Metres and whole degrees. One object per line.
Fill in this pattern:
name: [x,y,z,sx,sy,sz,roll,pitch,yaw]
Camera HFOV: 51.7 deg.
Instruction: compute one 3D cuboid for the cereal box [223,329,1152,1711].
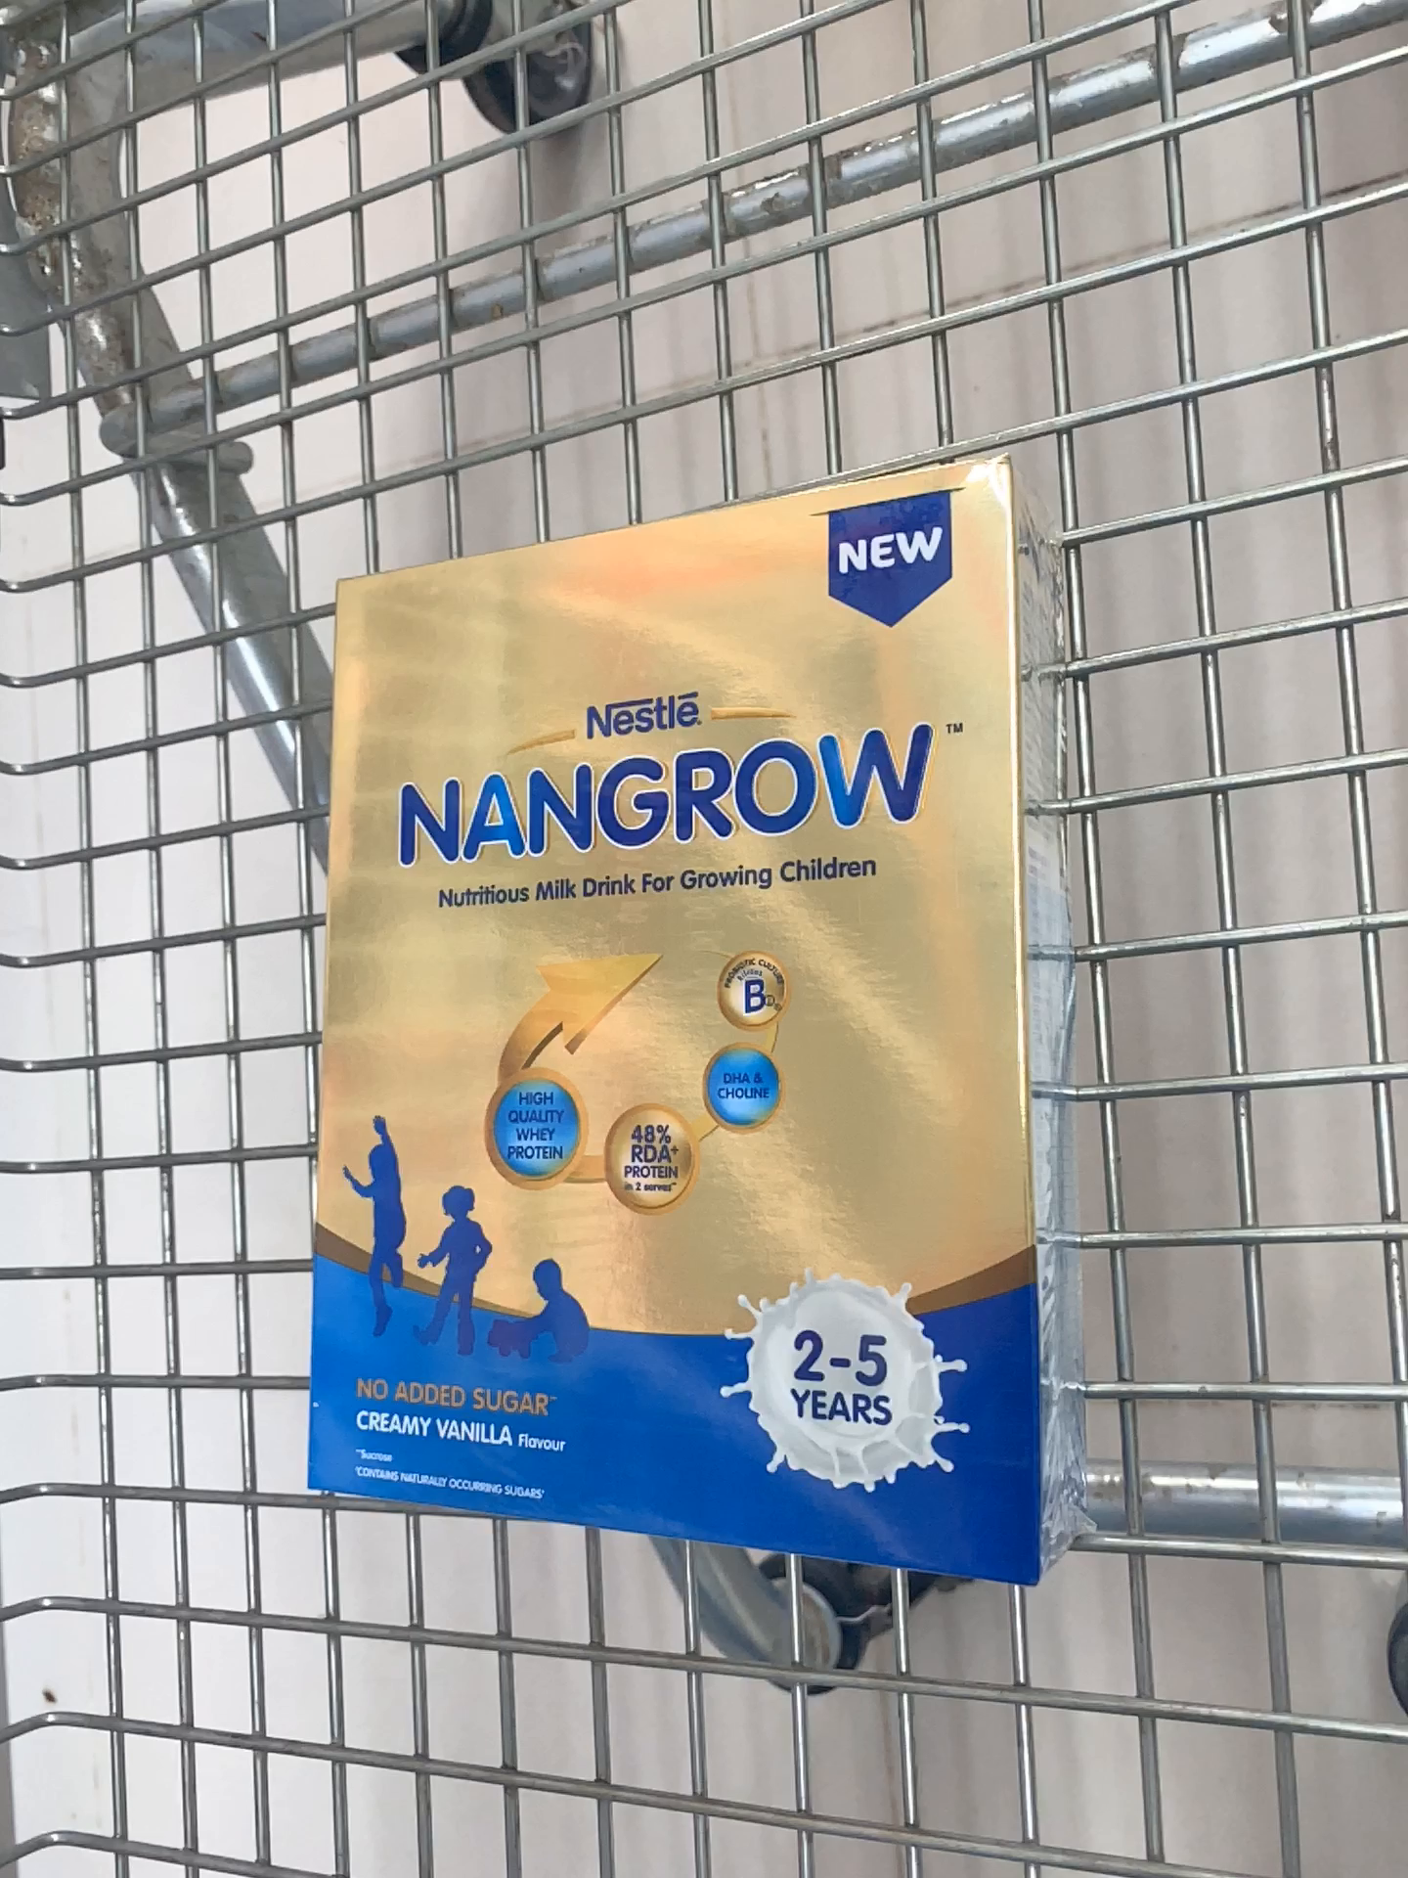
cereal box: [-0.006,0.013,0.260,0.150,0.060,0.190,-3,87,26]
